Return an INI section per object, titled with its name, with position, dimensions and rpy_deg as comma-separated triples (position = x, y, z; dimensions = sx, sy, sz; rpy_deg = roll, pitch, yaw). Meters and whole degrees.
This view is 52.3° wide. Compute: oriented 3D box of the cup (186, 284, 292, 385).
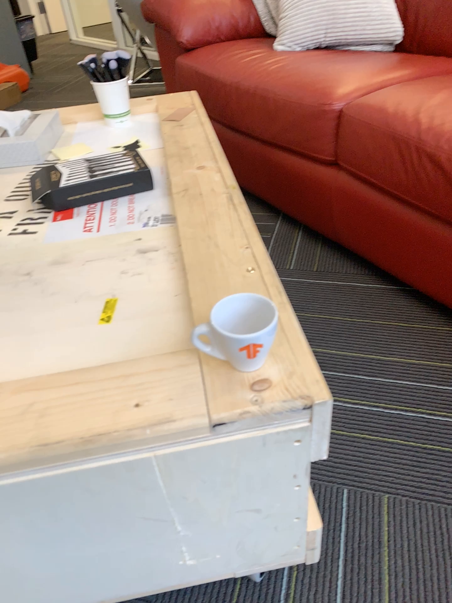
[cup]
position = 0.012, 0.031, 0.443
dimensions = 0.090, 0.060, 0.060
rpy_deg = -8, 38, -3
